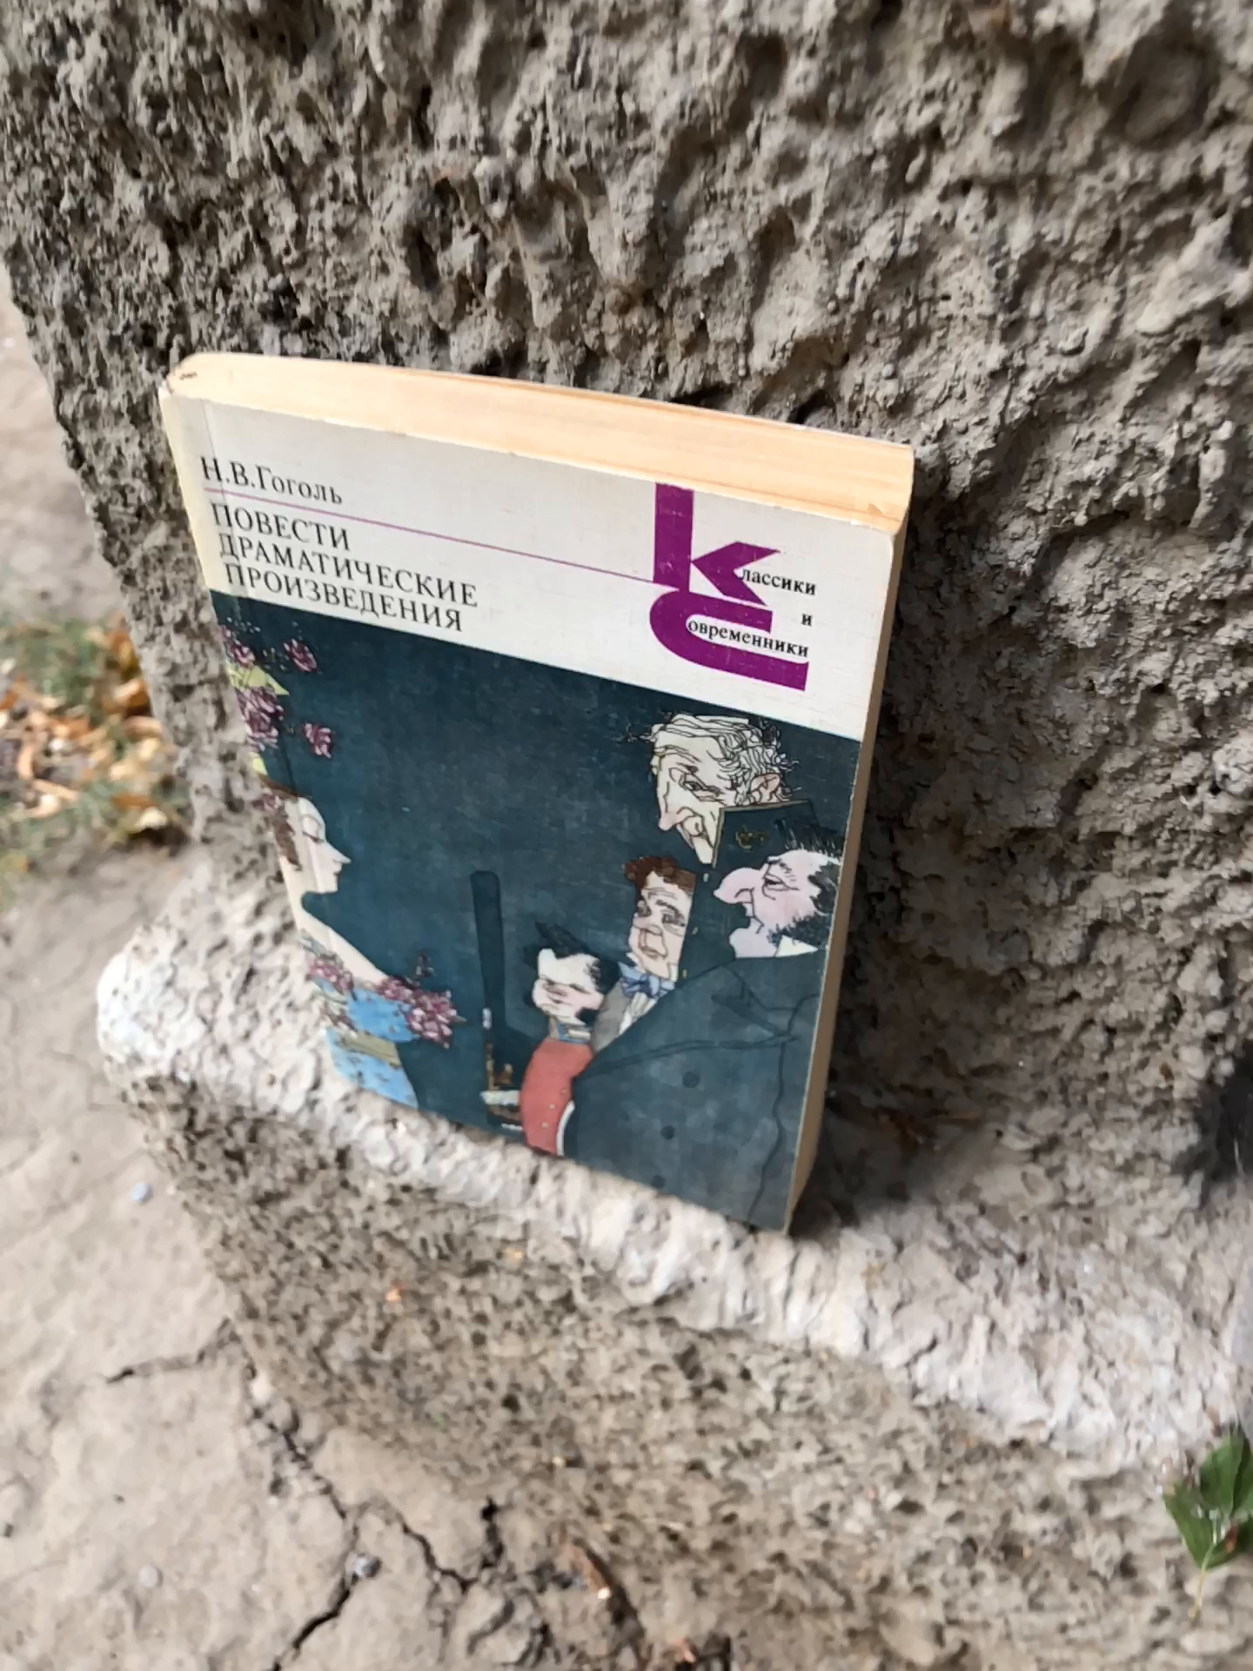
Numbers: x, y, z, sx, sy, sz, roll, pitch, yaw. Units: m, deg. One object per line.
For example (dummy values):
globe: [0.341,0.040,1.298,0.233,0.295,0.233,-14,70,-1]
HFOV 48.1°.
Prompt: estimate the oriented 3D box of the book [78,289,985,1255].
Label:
book: [-0.018,0.001,0.280,0.137,0.190,0.030,13,44,12]
